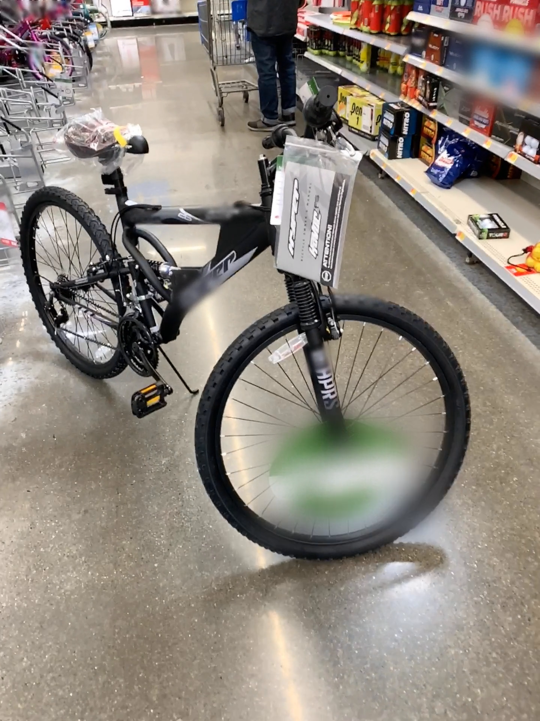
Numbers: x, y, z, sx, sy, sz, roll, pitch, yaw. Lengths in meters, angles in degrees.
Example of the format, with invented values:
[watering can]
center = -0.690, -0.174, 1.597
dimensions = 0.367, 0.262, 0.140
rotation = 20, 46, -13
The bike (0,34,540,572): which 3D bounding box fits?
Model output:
[bike]
center = -0.172, -0.305, 1.750
dimensions = 1.680, 1.089, 0.694
rotation = 20, 42, 25
